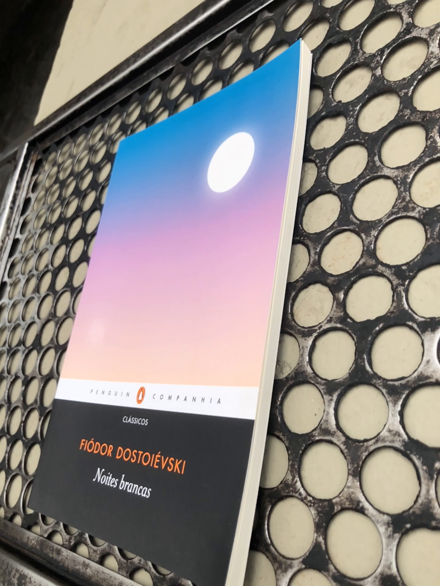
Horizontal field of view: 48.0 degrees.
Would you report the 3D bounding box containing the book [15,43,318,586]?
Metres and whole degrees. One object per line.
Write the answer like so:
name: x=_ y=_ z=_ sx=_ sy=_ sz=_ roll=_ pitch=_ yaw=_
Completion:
book: x=-0.027 y=0.002 z=0.210 sx=0.133 sy=0.010 sz=0.191 roll=-7 pitch=66 yaw=44
